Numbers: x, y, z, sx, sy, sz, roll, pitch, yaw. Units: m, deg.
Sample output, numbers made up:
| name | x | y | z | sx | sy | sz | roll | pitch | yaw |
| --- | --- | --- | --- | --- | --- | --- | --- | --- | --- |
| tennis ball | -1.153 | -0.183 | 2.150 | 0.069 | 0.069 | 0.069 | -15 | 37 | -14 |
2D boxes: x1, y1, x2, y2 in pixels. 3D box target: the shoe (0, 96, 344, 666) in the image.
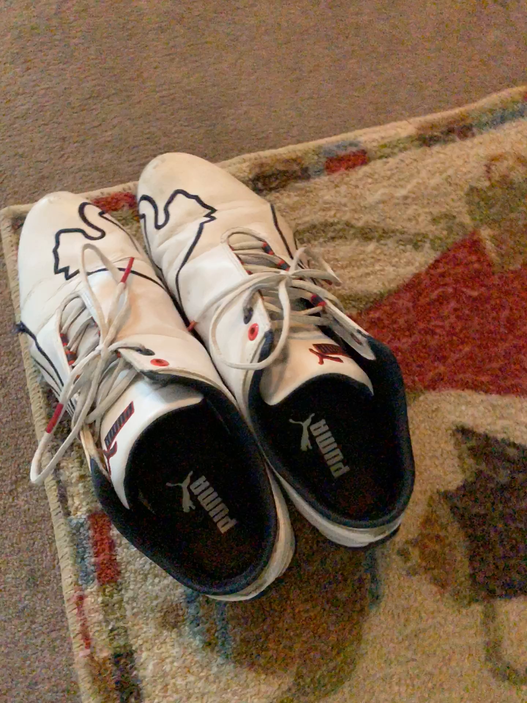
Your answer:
| name | x | y | z | sx | sy | sz | roll | pitch | yaw |
| --- | --- | --- | --- | --- | --- | --- | --- | --- | --- |
| shoe | -0.076 | 0.010 | 0.336 | 0.100 | 0.100 | 0.290 | -28 | 82 | -8 |

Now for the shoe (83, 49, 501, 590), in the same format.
| name | x | y | z | sx | sy | sz | roll | pitch | yaw |
| --- | --- | --- | --- | --- | --- | --- | --- | --- | --- |
| shoe | 0.008 | -0.023 | 0.340 | 0.100 | 0.090 | 0.290 | -28 | 82 | -8 |
